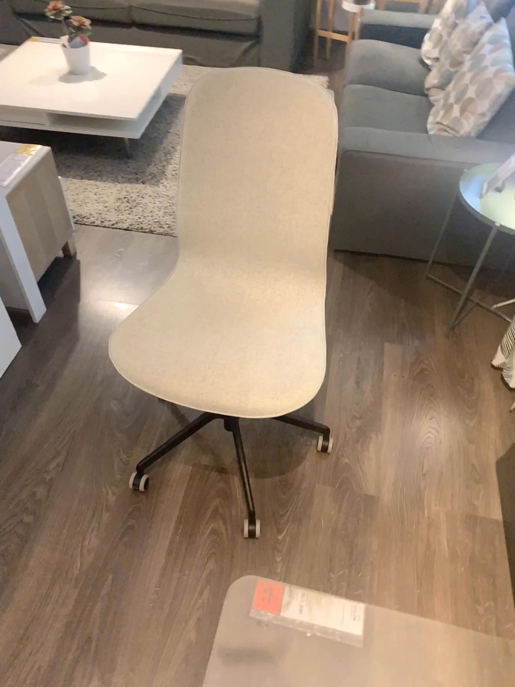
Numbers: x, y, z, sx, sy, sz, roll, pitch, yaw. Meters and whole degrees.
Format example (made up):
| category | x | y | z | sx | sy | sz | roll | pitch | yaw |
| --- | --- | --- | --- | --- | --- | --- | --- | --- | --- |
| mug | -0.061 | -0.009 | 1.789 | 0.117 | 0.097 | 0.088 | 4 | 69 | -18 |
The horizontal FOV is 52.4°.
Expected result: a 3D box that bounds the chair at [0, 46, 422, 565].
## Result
| category | x | y | z | sx | sy | sz | roll | pitch | yaw |
| --- | --- | --- | --- | --- | --- | --- | --- | --- | --- |
| chair | -0.038 | -0.053 | 1.331 | 0.630 | 1.006 | 0.712 | 11 | 47 | 7 |
